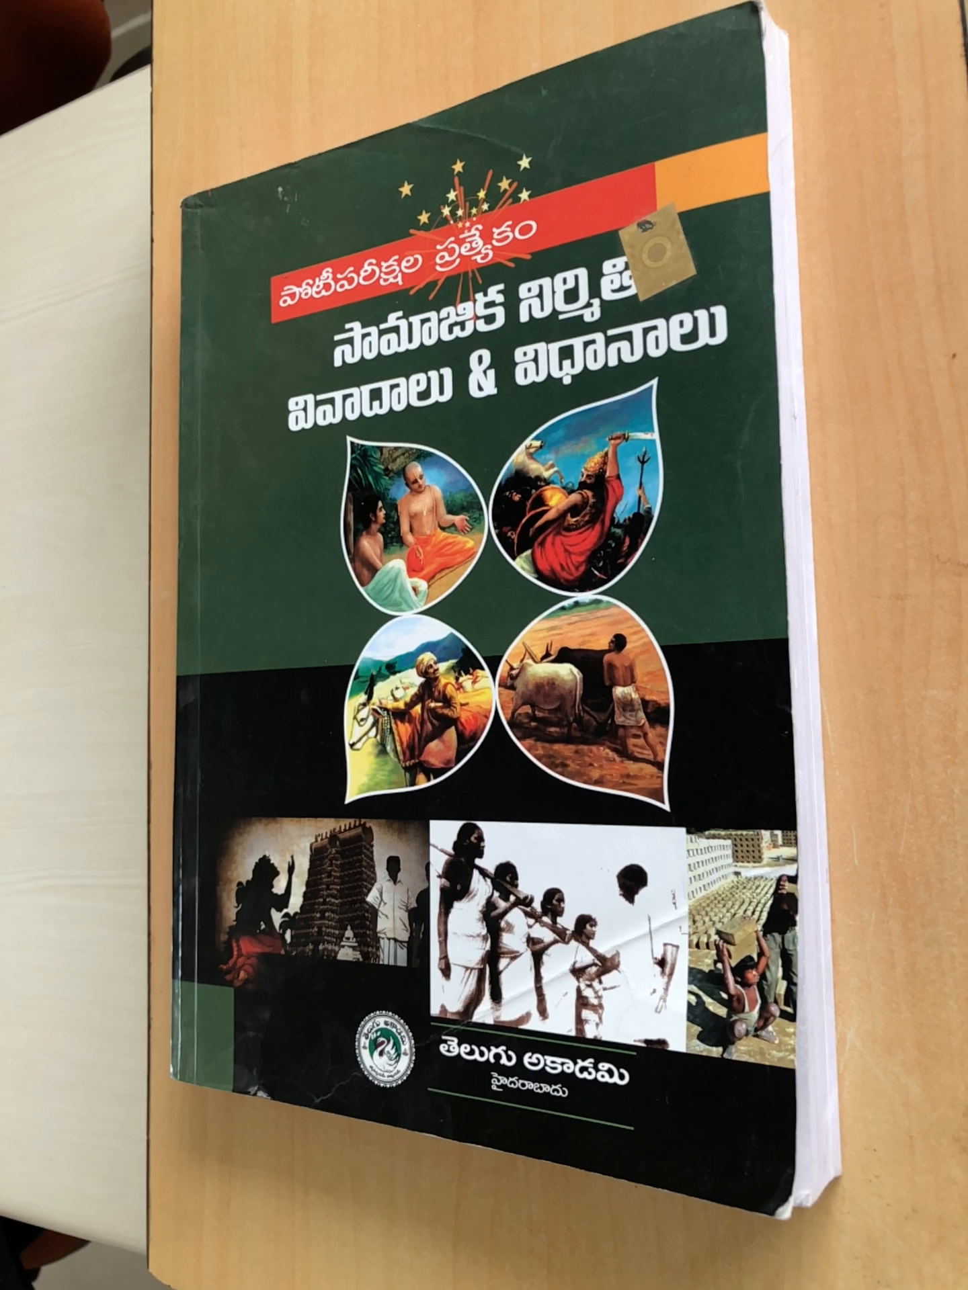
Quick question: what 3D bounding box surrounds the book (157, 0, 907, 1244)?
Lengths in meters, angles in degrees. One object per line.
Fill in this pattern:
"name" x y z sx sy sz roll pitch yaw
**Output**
"book" 0.002 -0.010 0.291 0.191 0.050 0.270 -4 83 29
